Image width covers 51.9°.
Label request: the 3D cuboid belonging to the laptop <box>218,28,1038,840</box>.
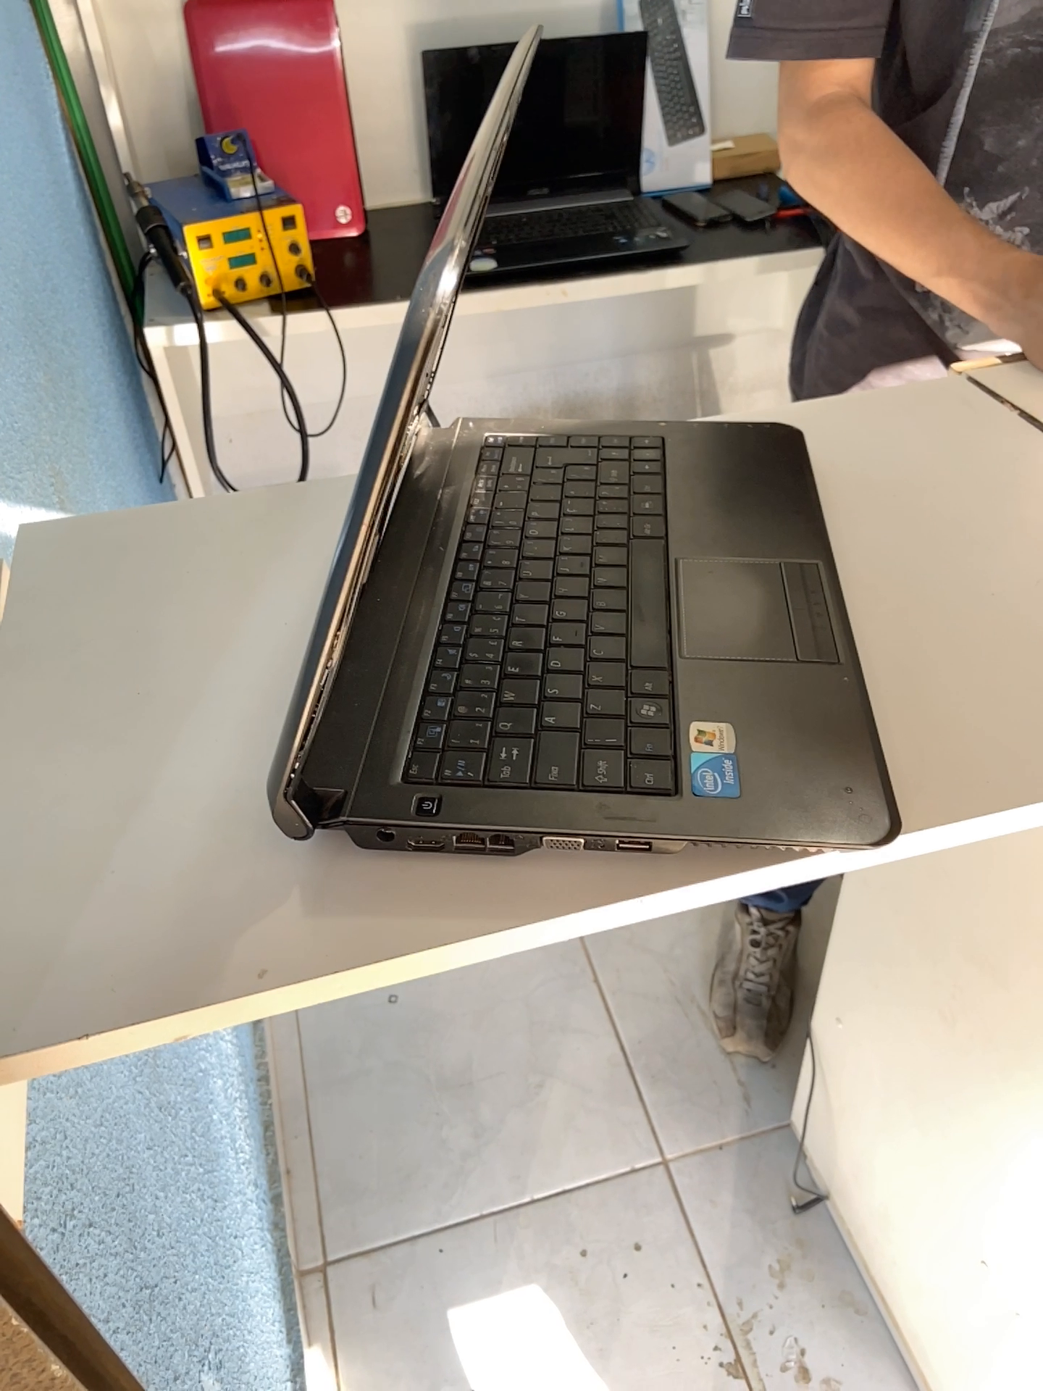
[{"bbox_3d":[0.043,-0.136,0.462,0.205,0.206,0.332,1,40,5],"label":"laptop"}]
